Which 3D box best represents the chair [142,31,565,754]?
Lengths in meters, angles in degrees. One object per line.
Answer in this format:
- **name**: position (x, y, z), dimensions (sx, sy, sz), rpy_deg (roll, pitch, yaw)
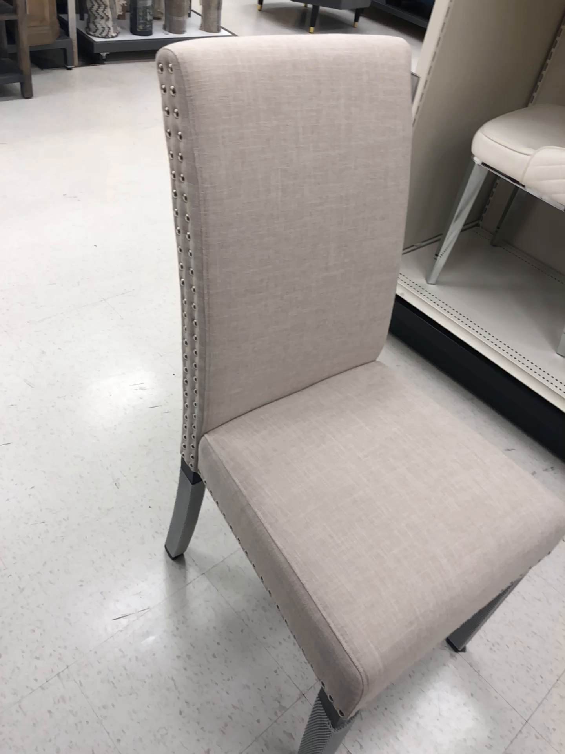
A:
- **chair**: position (0.139, 0.109, 0.969), dimensions (0.488, 1.006, 0.557), rpy_deg (-22, 52, -32)
